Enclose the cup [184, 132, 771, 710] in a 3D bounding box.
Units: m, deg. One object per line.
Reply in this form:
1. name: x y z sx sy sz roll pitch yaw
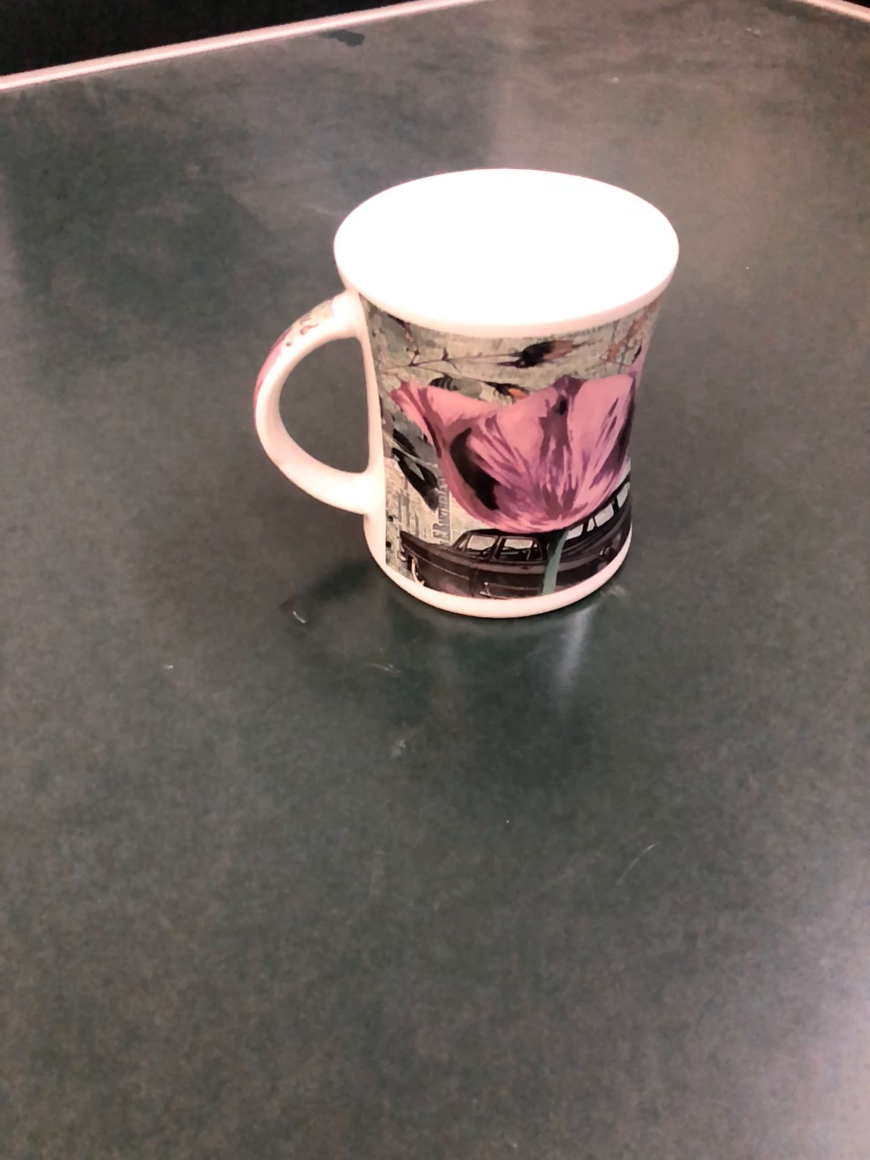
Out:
1. cup: 0.004 -0.044 0.266 0.120 0.110 0.090 -9 45 -8
